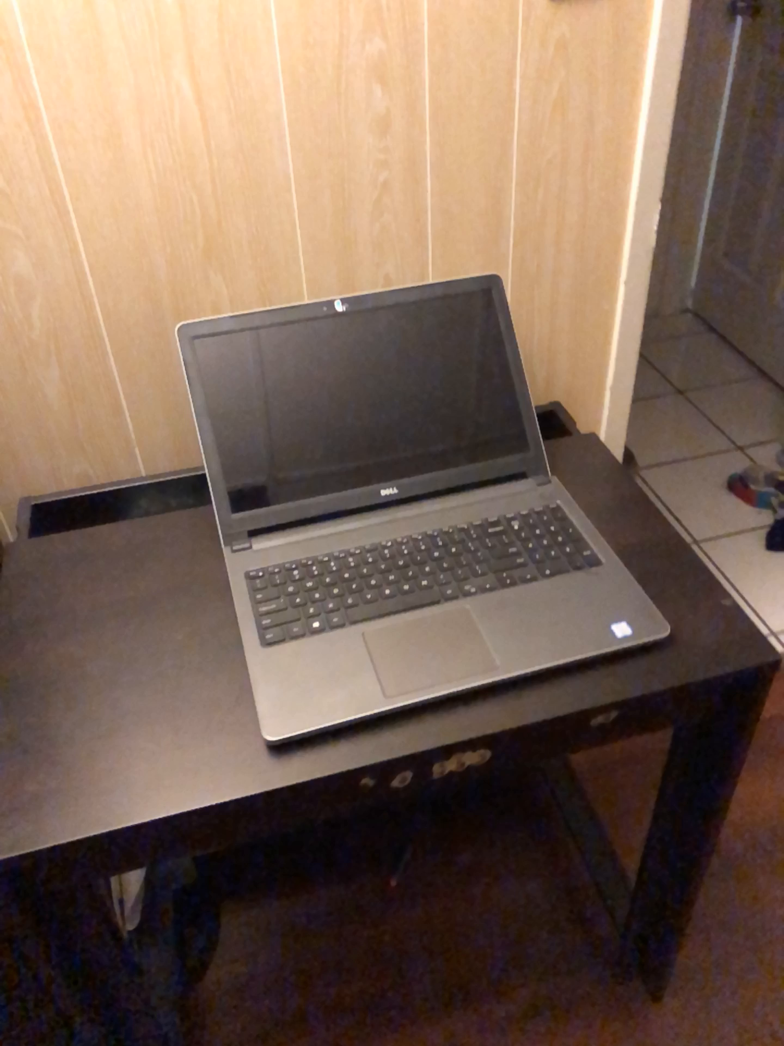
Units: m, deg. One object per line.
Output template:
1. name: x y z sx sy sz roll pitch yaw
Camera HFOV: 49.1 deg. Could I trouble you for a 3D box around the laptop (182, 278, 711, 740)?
1. laptop: 0.015 -0.053 0.848 0.367 0.172 0.429 -13 39 -11
